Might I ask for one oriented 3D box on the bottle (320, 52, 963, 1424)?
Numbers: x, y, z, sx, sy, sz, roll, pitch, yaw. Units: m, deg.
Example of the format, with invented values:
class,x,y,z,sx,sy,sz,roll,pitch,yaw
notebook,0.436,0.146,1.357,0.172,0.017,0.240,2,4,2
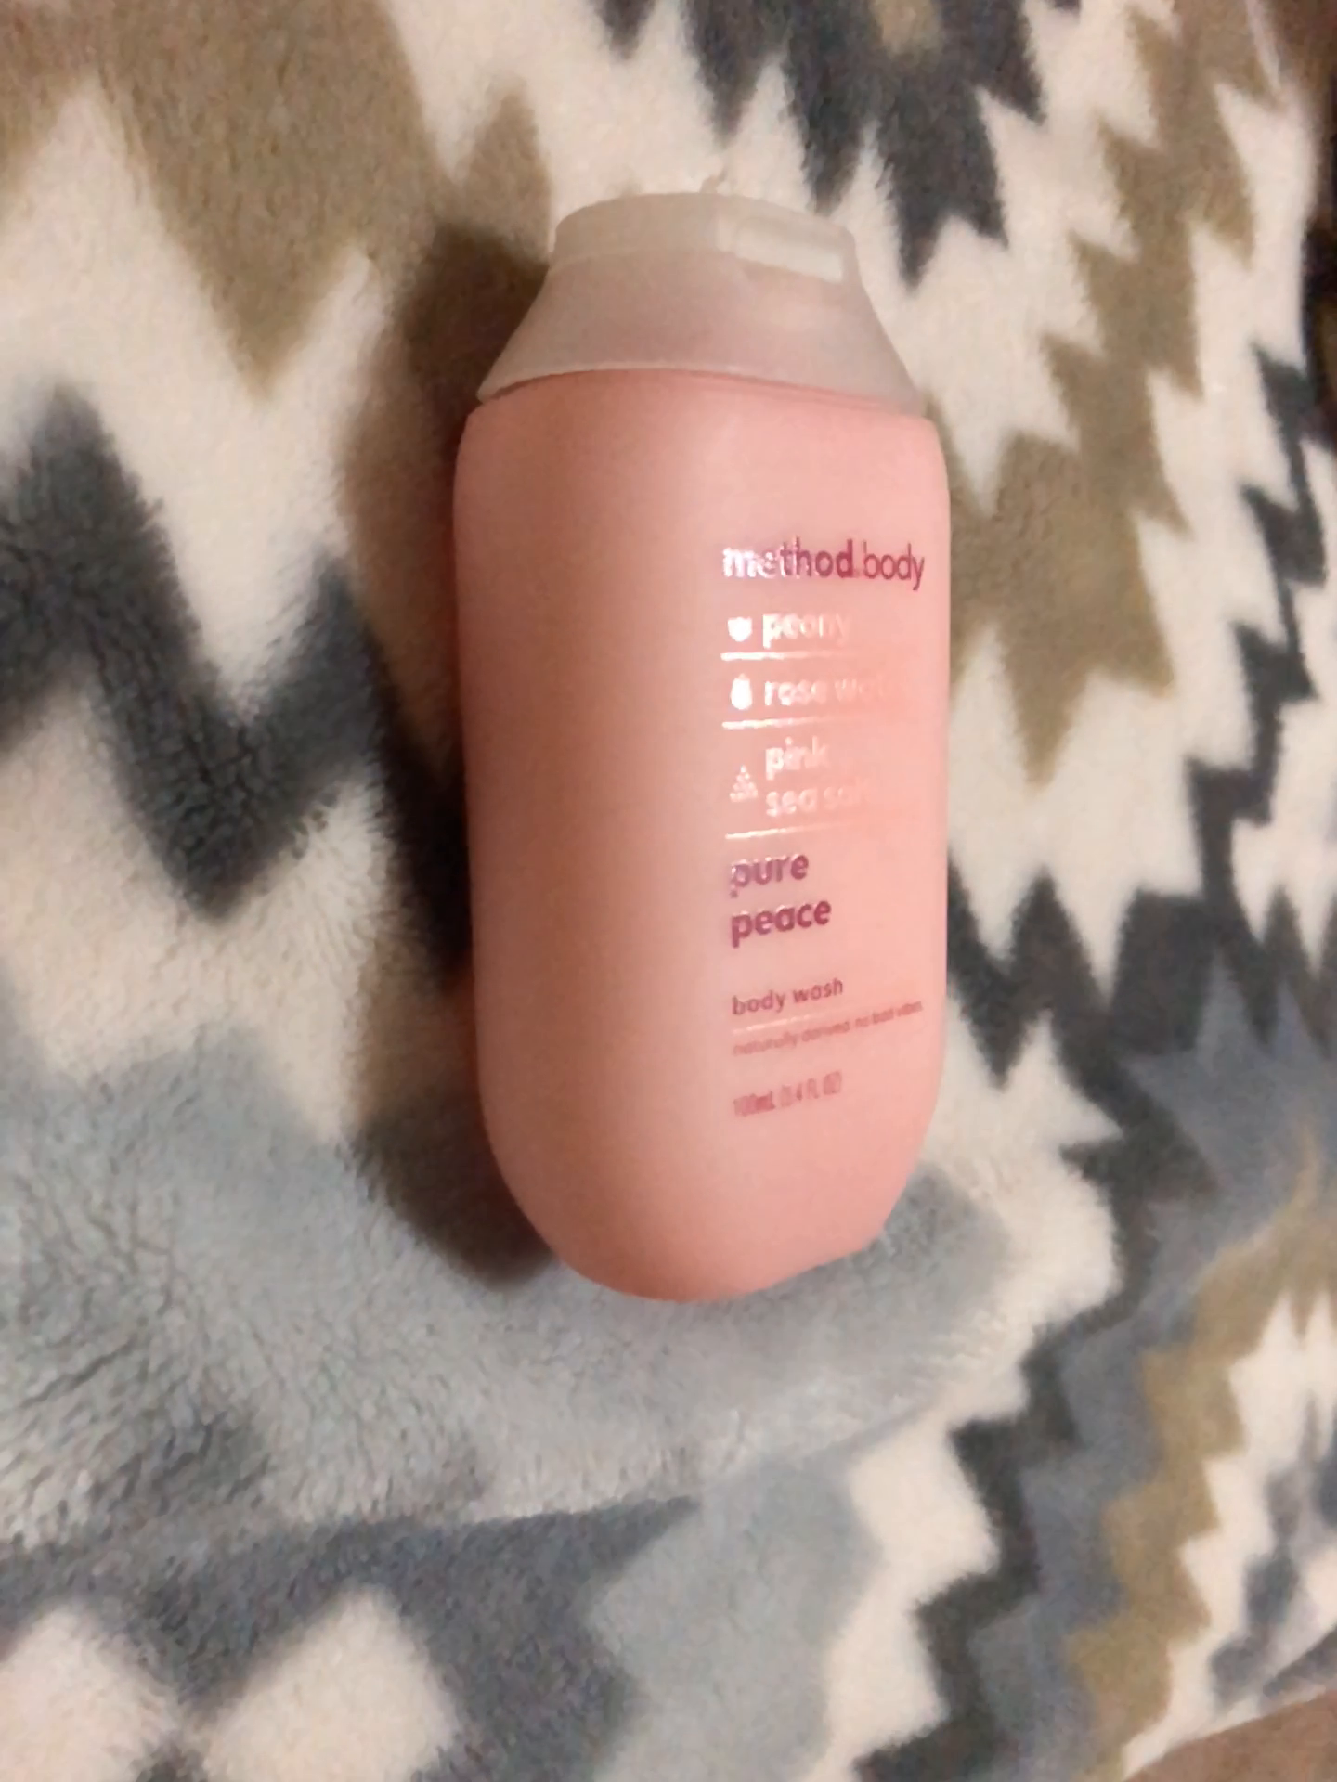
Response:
class,x,y,z,sx,sy,sz,roll,pitch,yaw
bottle,-0.002,-0.012,0.152,0.057,0.030,0.110,-6,100,-45
